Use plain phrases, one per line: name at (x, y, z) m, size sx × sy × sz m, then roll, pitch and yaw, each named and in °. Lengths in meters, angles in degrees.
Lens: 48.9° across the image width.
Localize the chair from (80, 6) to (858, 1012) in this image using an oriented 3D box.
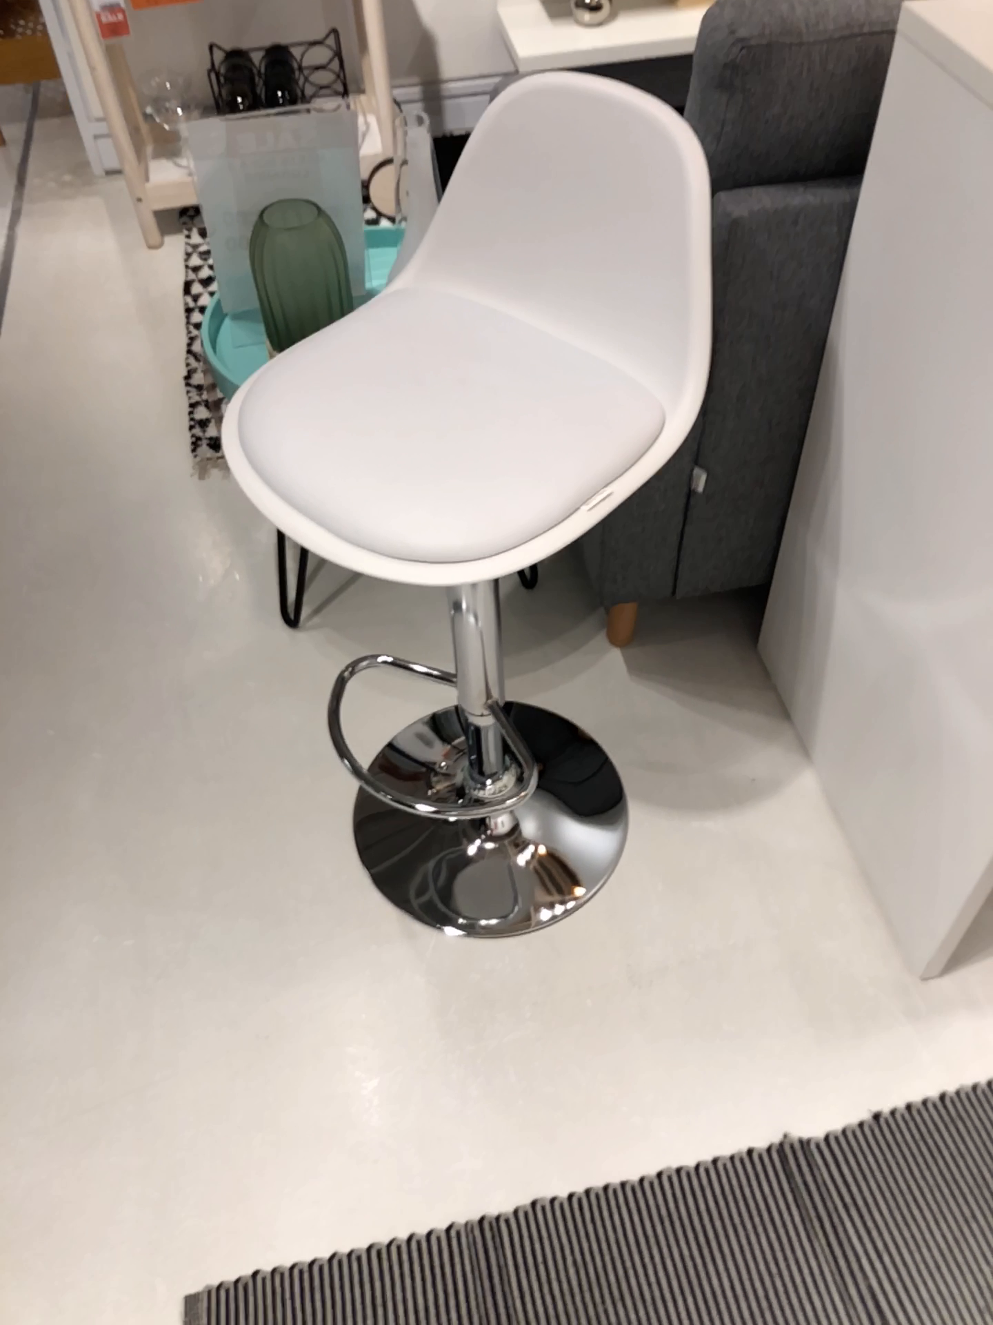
chair at (-0.008, -0.097, 1.156) m, size 0.421 × 0.884 × 0.412 m, roll -36°, pitch 56°, yaw -25°
